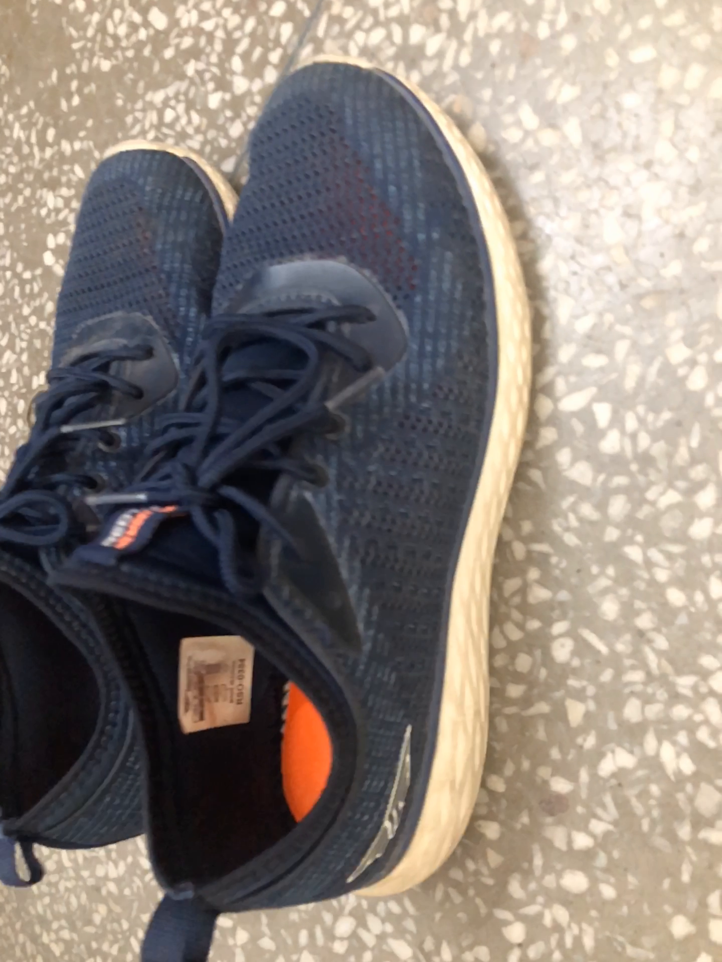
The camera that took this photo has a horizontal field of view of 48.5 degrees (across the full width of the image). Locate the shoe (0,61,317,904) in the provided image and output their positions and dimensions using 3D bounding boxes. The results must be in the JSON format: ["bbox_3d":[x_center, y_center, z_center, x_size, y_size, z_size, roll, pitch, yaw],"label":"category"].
[{"bbox_3d":[-0.100,0.002,0.309,0.114,0.099,0.249,-5,89,36],"label":"shoe"}]

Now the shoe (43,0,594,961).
[{"bbox_3d":[-0.012,-0.010,0.246,0.124,0.099,0.249,-2,90,36],"label":"shoe"}]
